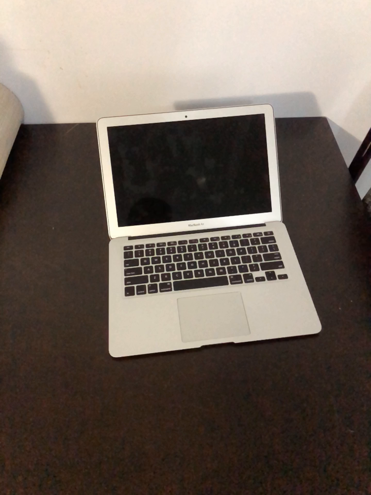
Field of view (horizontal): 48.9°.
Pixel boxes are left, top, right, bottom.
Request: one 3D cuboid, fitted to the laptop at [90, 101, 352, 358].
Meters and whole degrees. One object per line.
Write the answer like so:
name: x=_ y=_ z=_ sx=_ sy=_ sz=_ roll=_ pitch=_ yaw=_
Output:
laptop: x=0.024 y=-0.050 z=0.630 sx=0.303 sy=0.136 sz=0.362 roll=-6 pitch=51 yaw=-3
